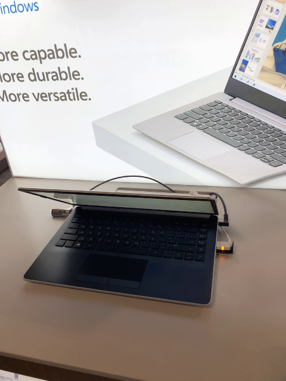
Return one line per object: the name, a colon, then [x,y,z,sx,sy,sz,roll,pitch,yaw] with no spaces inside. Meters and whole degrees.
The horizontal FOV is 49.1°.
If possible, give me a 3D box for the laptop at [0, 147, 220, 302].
laptop: [-0.029,0.035,0.551,0.303,0.155,0.226,3,29,16]
